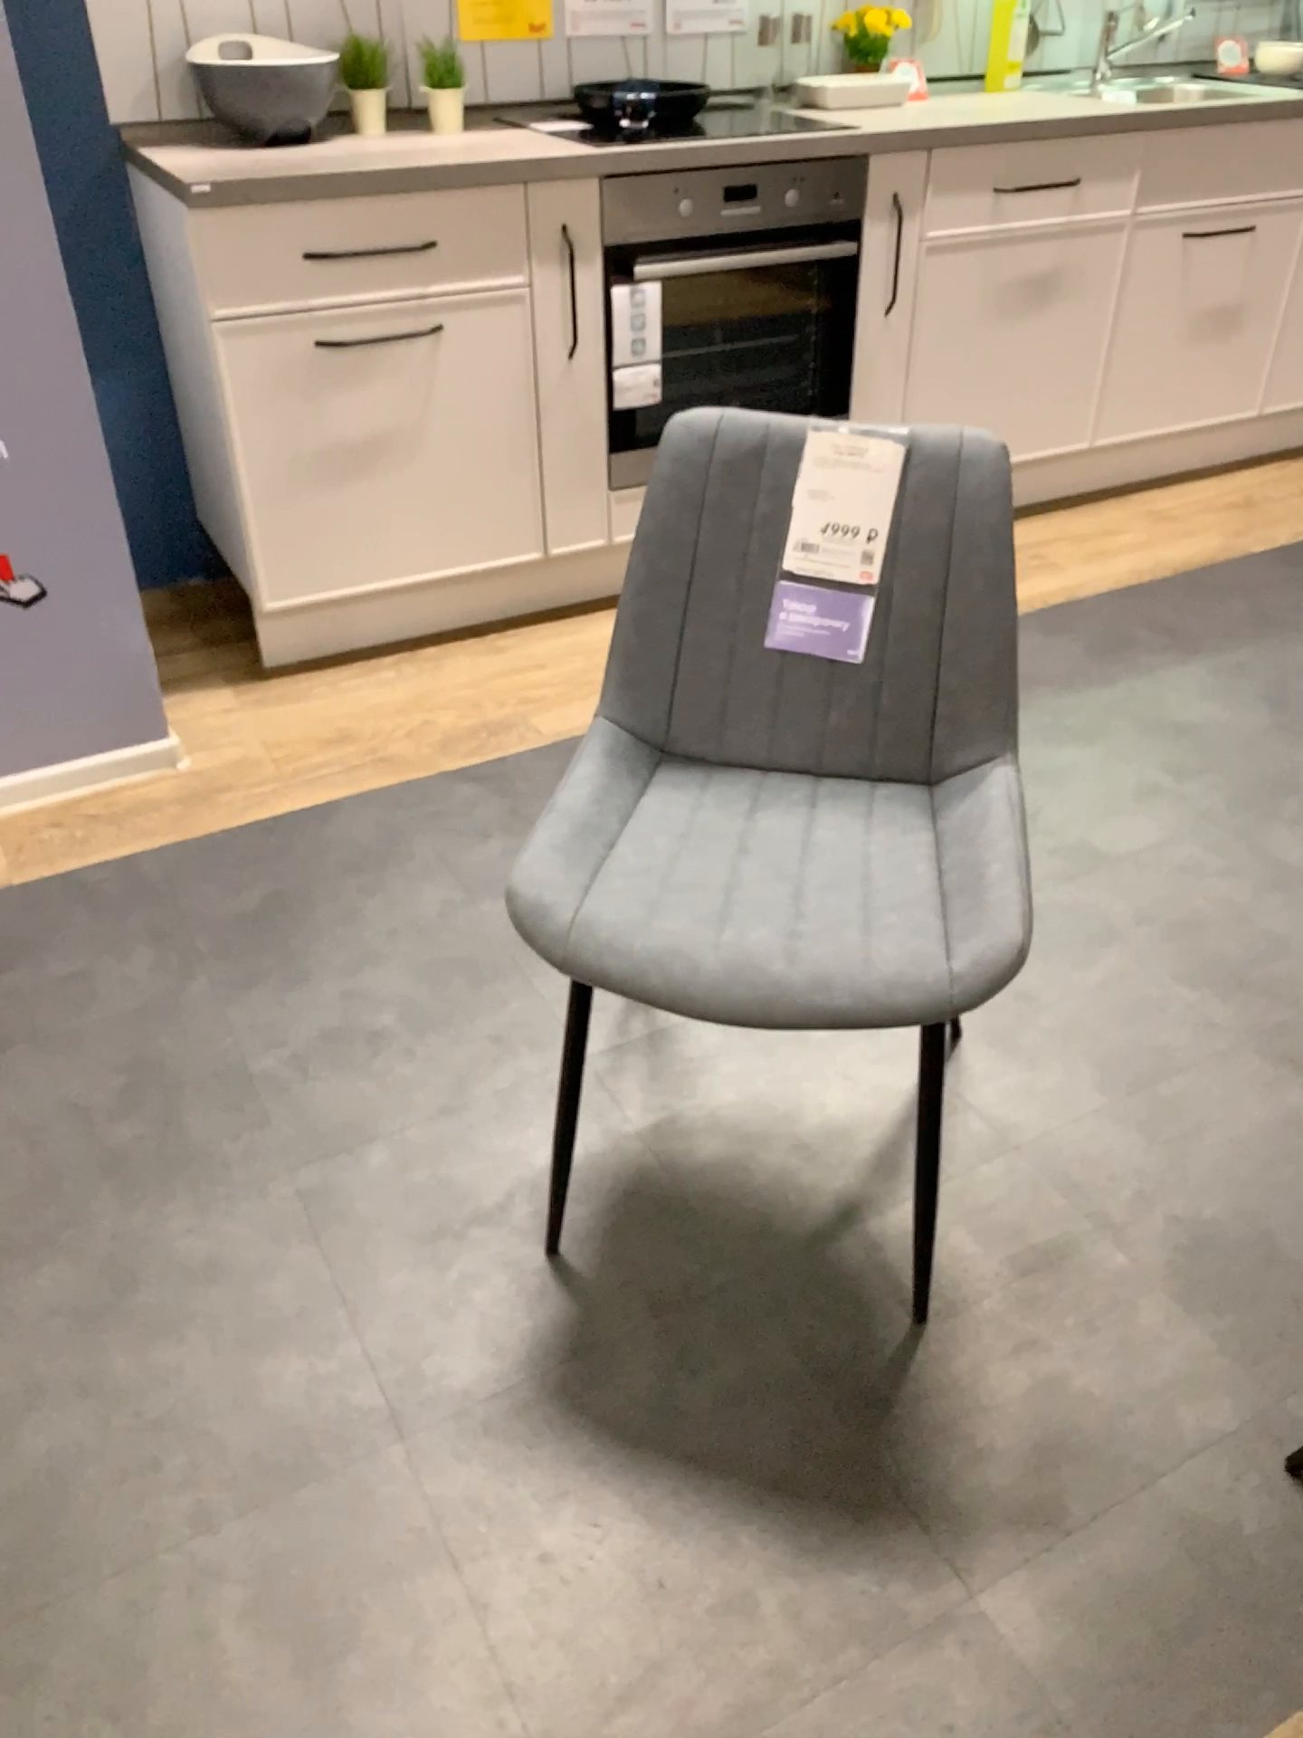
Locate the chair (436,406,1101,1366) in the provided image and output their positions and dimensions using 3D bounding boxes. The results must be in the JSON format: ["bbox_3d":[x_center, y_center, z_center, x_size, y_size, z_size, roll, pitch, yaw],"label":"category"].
[{"bbox_3d":[0.149,0.001,1.516,0.522,0.833,0.592,7,36,11],"label":"chair"}]
